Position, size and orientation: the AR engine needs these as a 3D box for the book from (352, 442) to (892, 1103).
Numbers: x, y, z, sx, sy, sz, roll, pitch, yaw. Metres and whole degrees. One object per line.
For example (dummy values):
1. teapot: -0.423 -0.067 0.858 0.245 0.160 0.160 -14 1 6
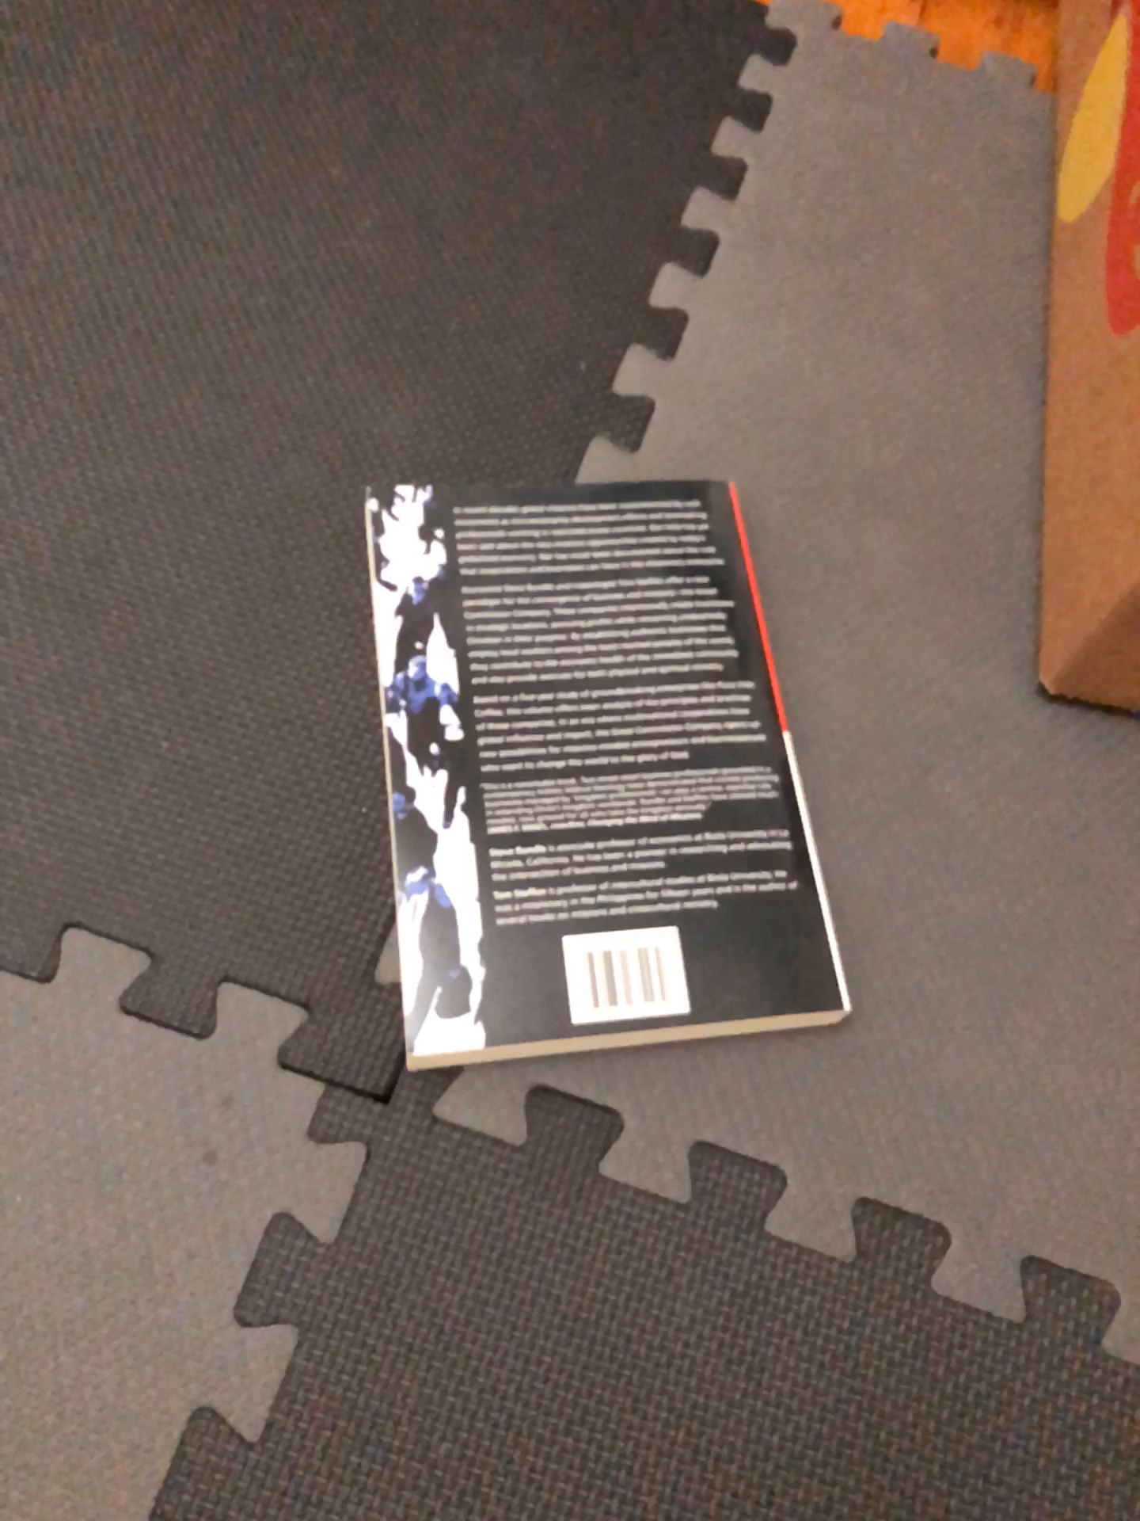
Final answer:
1. book: 0.008 -0.010 0.434 0.150 0.020 0.231 -4 64 -8

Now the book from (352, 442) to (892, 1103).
1. book: 0.008 -0.010 0.434 0.150 0.020 0.231 -4 64 -8
